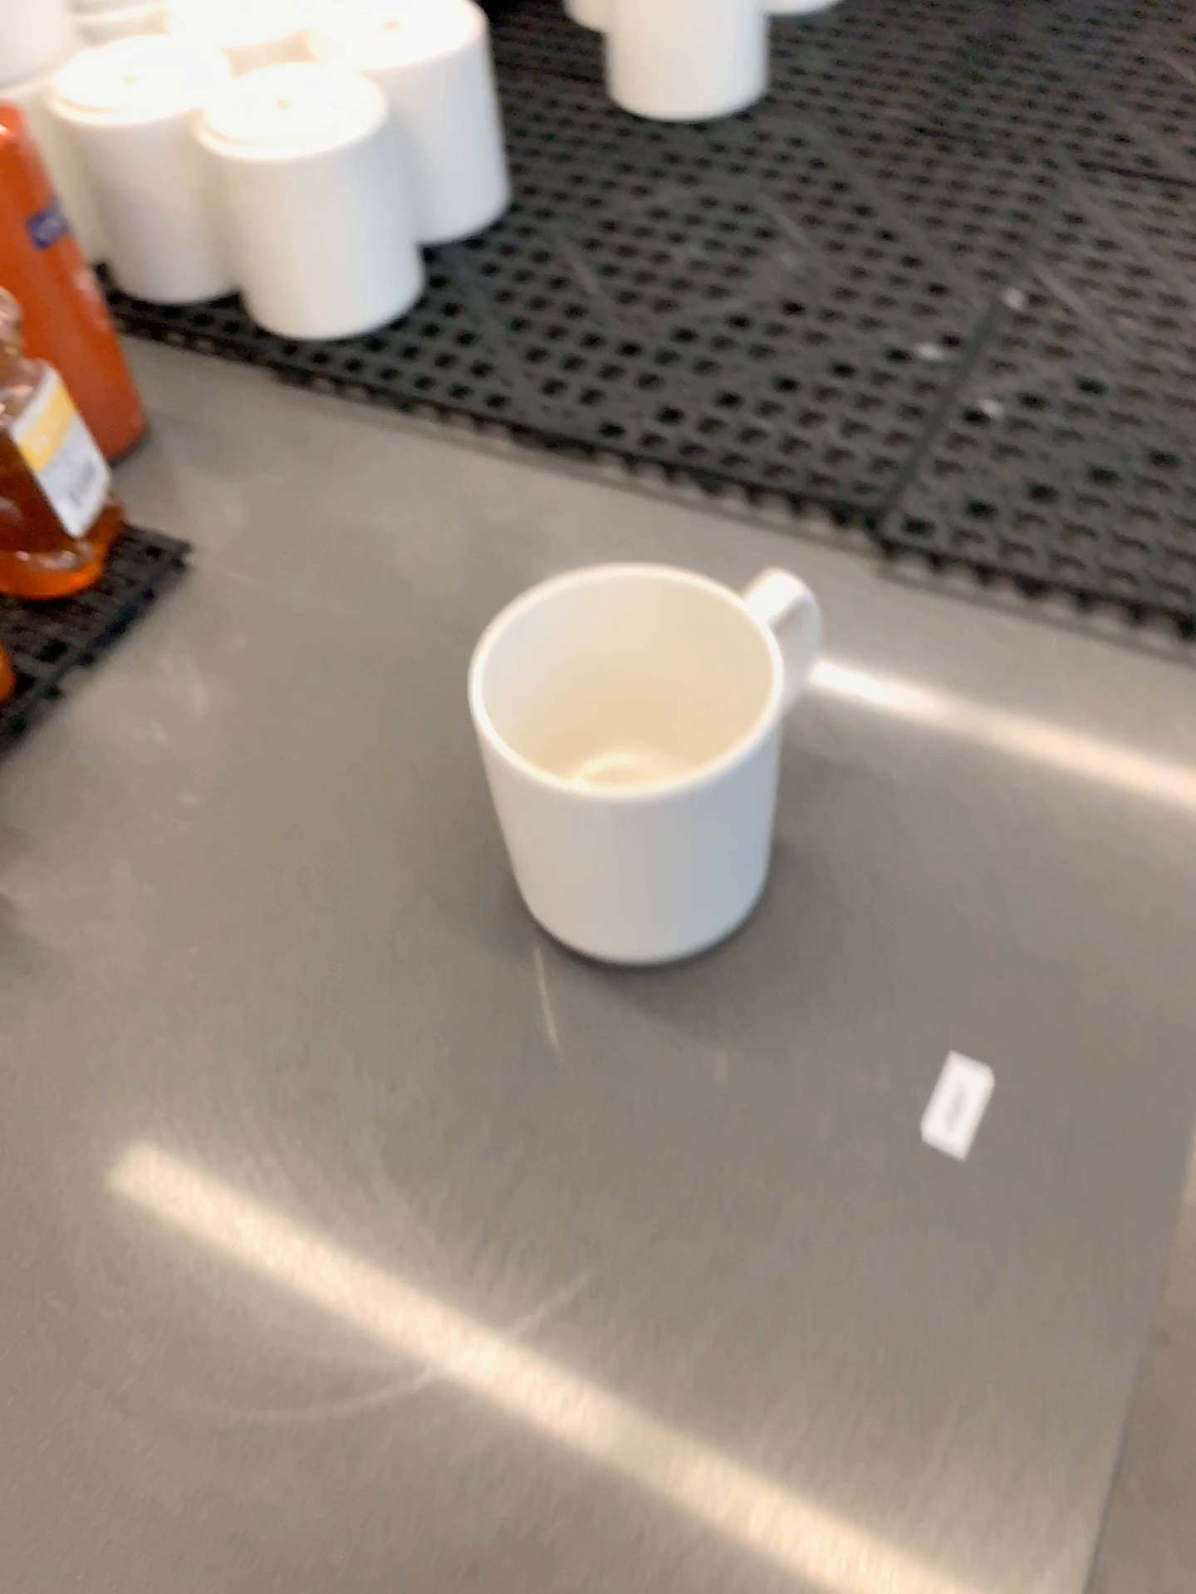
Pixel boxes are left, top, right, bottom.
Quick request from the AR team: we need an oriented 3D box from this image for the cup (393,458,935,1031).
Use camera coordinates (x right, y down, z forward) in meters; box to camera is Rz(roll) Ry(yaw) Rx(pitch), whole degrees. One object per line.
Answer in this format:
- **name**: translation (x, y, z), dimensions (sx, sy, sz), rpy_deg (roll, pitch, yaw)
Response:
- **cup**: translation (0.022, -0.018, 0.375), dimensions (0.090, 0.090, 0.120), rpy_deg (37, 63, 28)
